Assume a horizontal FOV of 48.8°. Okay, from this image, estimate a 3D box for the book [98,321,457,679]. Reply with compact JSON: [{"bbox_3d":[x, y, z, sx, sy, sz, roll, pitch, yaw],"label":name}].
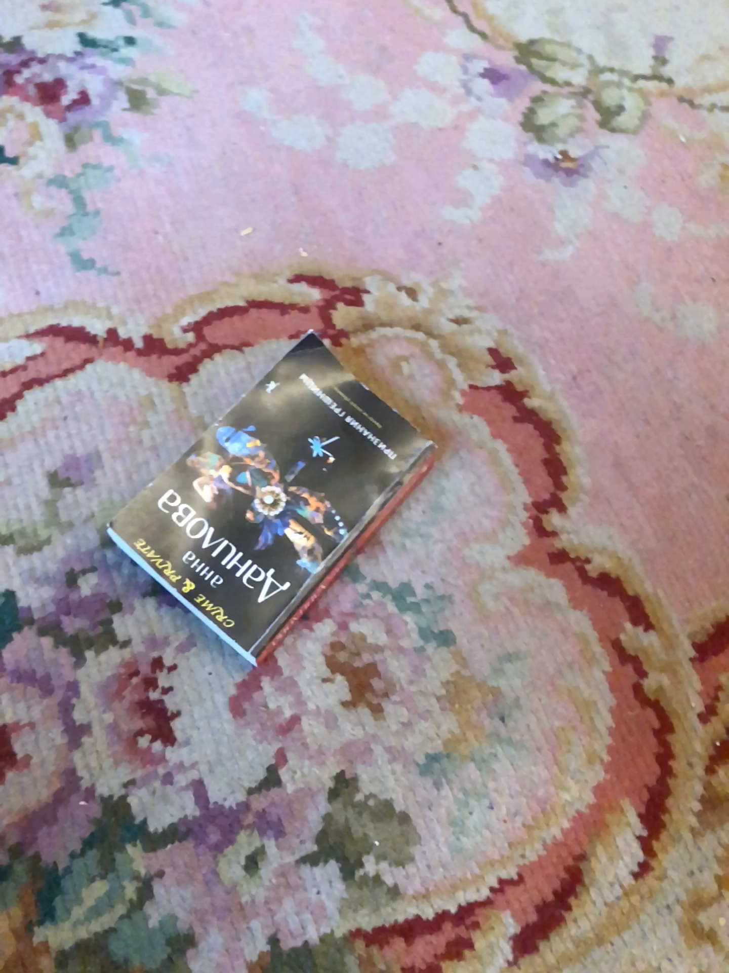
[{"bbox_3d":[-0.045,0.005,0.453,0.110,0.050,0.165,39,69,7],"label":"book"}]
